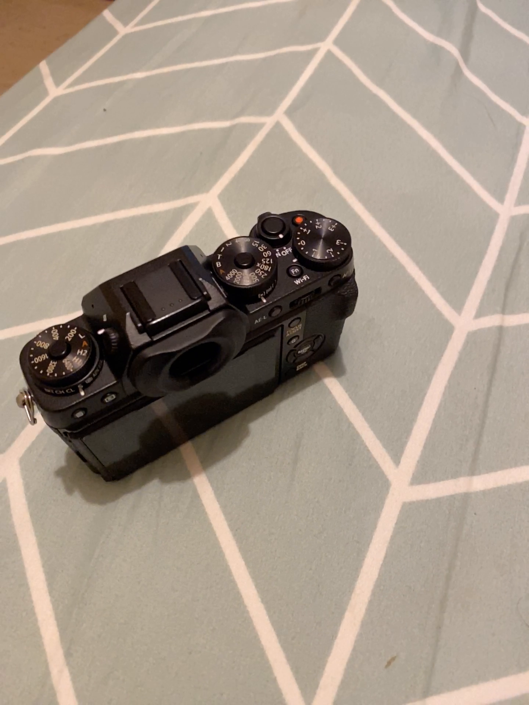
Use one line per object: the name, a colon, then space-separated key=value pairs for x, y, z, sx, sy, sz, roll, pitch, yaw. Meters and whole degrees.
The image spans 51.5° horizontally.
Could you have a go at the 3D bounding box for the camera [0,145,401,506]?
camera: x=-0.027 y=-0.009 z=0.222 sx=0.142 sy=0.082 sz=0.054 roll=-29 pitch=65 yaw=-15
